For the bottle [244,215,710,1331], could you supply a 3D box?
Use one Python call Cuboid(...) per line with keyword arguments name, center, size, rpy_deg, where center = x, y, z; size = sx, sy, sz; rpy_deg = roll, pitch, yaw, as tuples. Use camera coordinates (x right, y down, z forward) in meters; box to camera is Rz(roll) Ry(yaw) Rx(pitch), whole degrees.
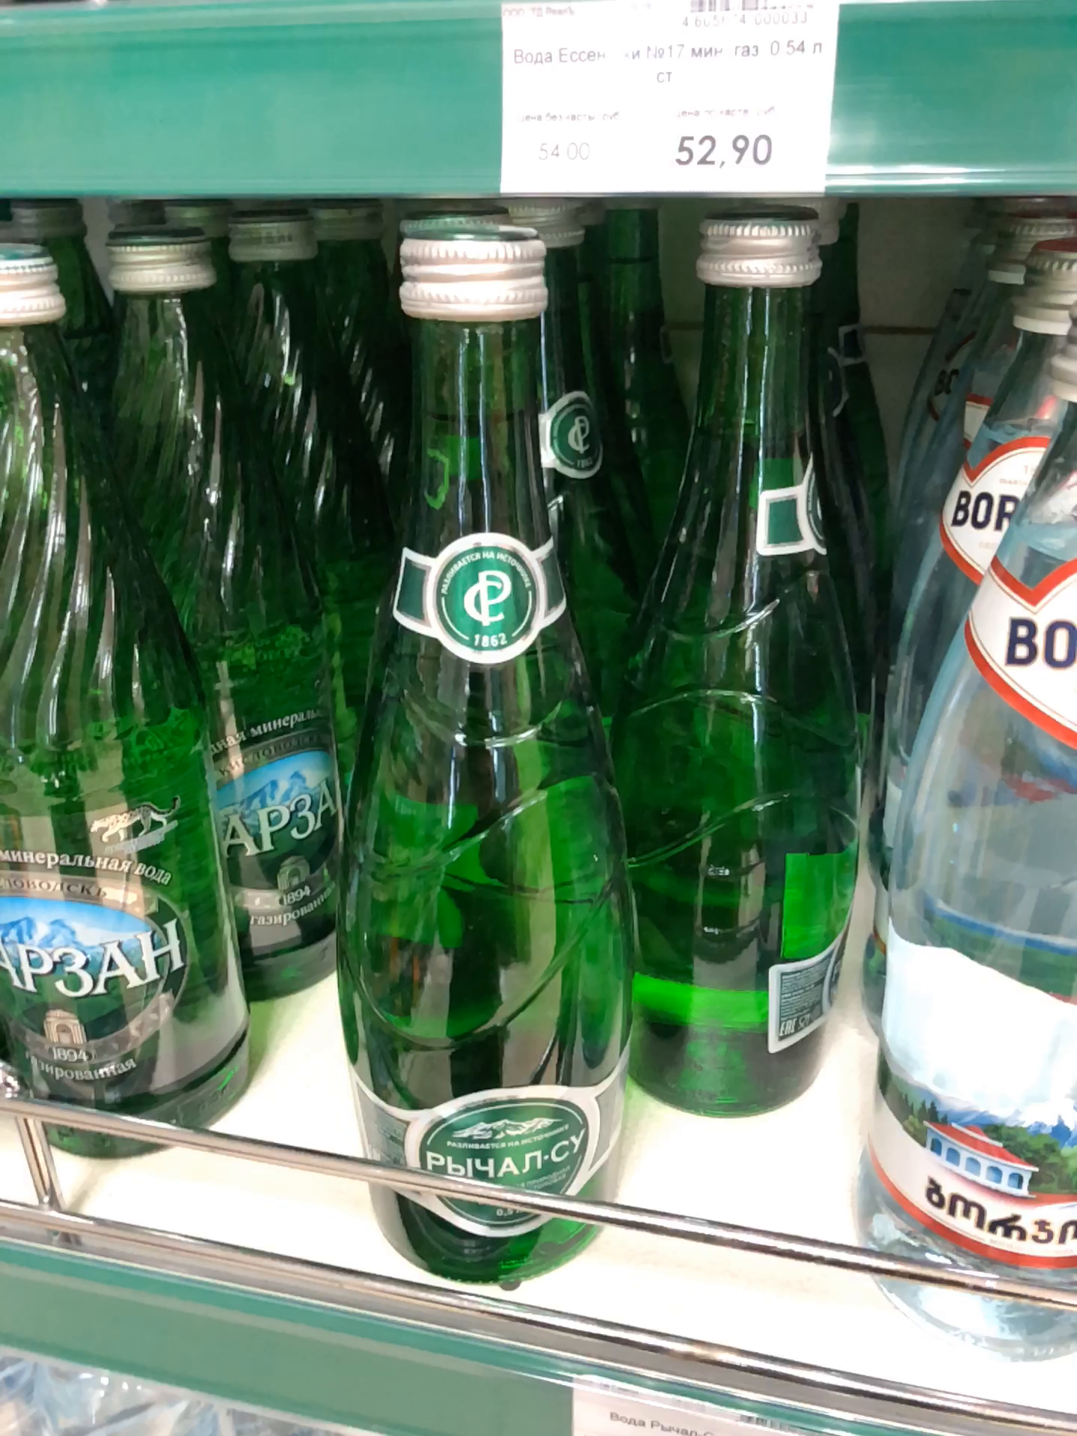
Cuboid(name="bottle", center=(-0.013, 0.021, 0.288), size=(0.080, 0.259, 0.070), rpy_deg=(-5, 25, -8))
